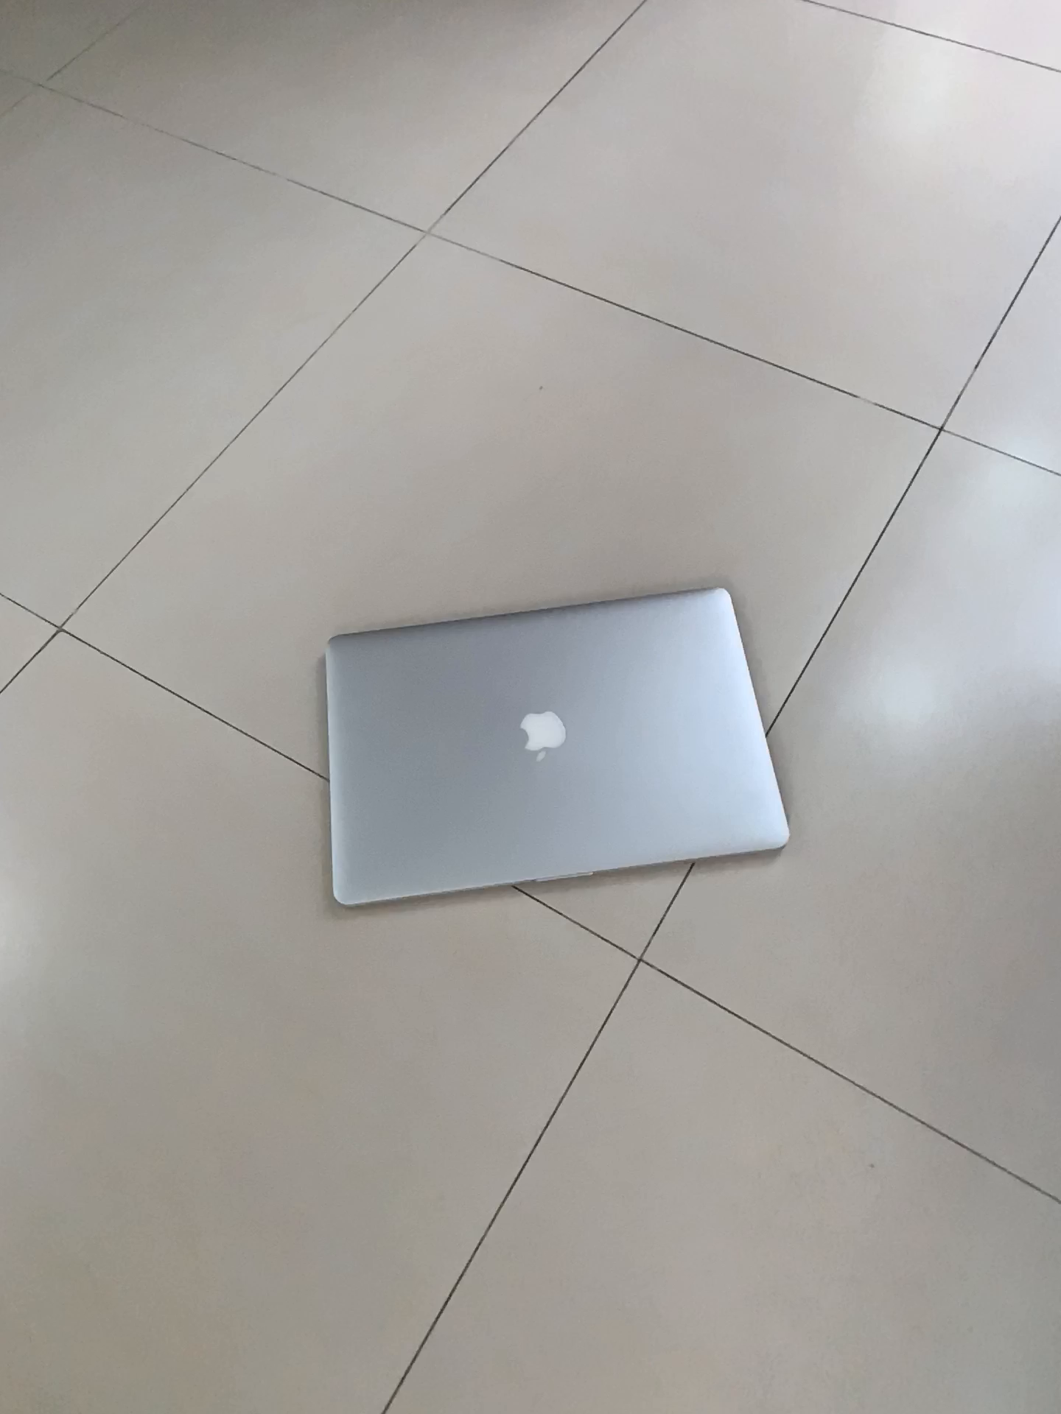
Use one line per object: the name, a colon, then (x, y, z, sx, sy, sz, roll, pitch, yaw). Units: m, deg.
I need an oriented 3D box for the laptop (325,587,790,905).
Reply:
laptop: (0.010, 0.024, 0.896, 0.356, 0.001, 0.239, -8, 62, 0)
